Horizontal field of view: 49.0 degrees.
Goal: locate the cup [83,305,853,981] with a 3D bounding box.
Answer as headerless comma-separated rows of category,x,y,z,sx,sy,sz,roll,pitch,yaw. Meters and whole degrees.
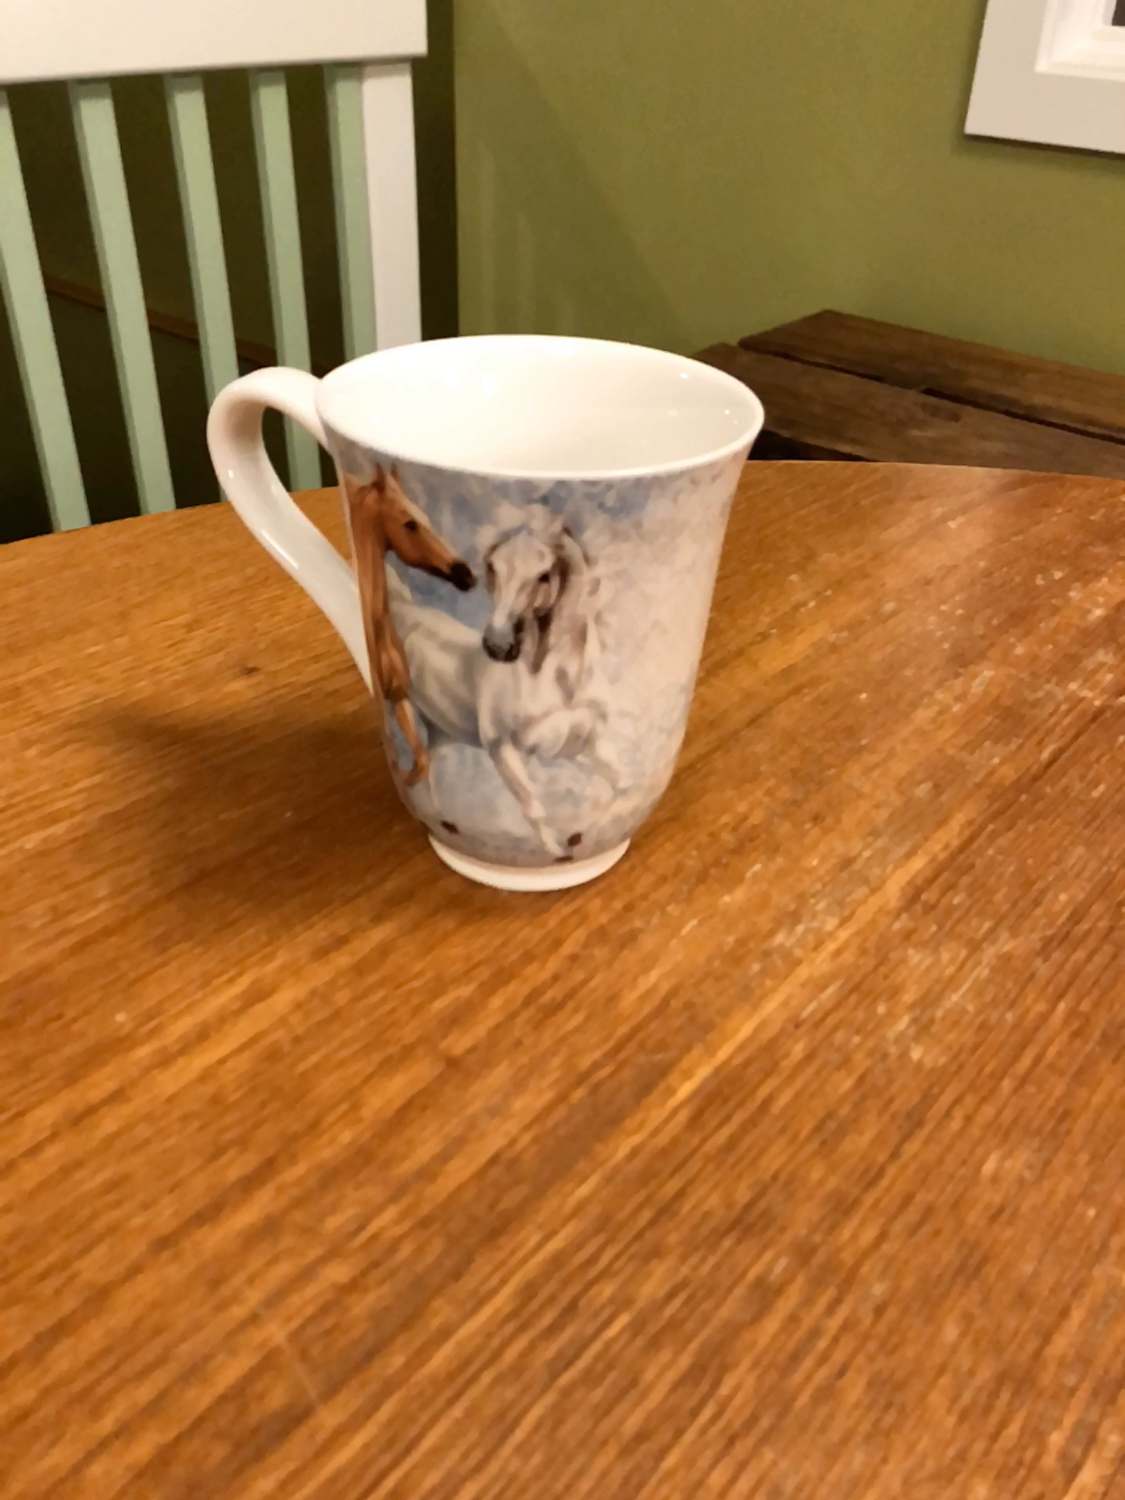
cup,-0.018,-0.032,0.277,0.133,0.098,0.083,16,36,20
